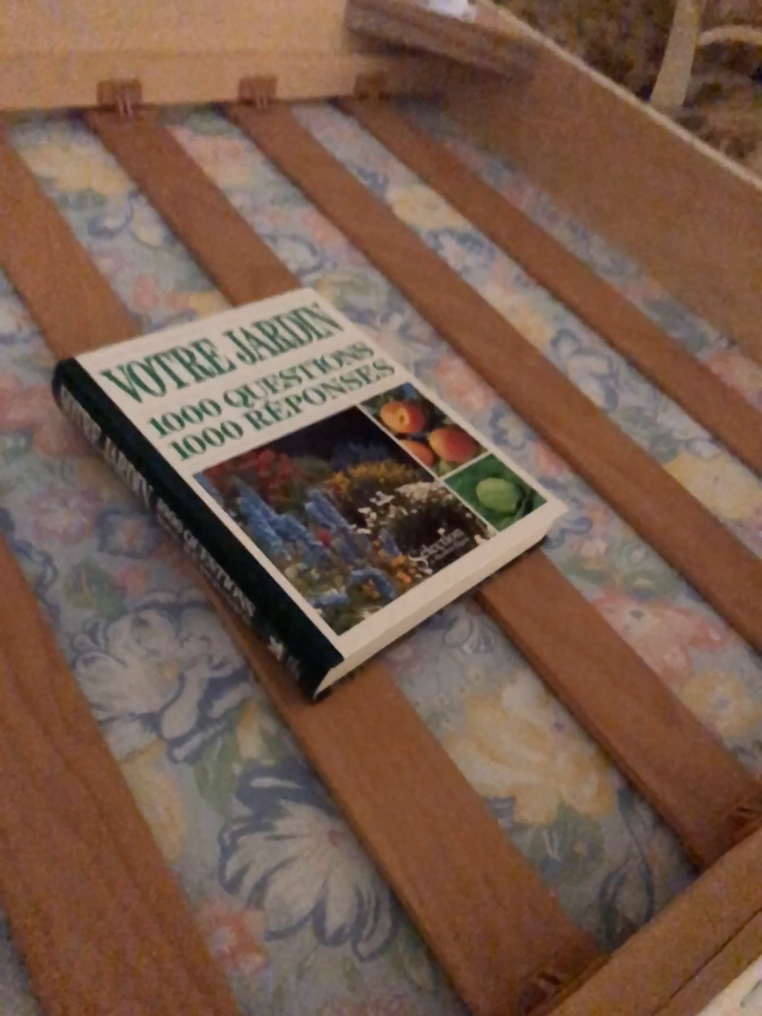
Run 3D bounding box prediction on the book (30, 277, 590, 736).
[{"bbox_3d":[-0.045,-0.029,0.525,0.221,0.050,0.270,-27,59,-36],"label":"book"}]
